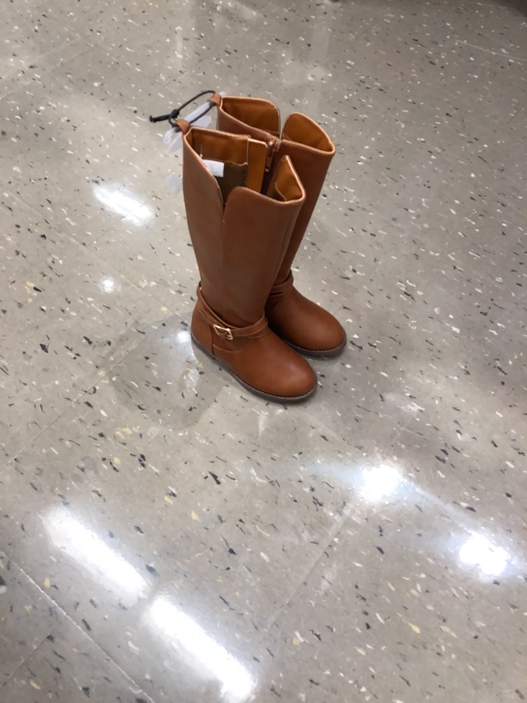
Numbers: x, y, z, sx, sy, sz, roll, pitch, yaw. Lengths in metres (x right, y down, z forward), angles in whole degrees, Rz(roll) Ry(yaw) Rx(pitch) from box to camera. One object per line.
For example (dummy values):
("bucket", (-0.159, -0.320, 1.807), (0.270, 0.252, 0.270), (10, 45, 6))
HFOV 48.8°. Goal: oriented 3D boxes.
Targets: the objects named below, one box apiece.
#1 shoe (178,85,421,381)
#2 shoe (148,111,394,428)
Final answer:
("shoe", (0.020, -0.100, 0.594), (0.190, 0.270, 0.070), (25, 61, 10))
("shoe", (-0.009, -0.059, 0.557), (0.180, 0.270, 0.070), (28, 56, 11))
